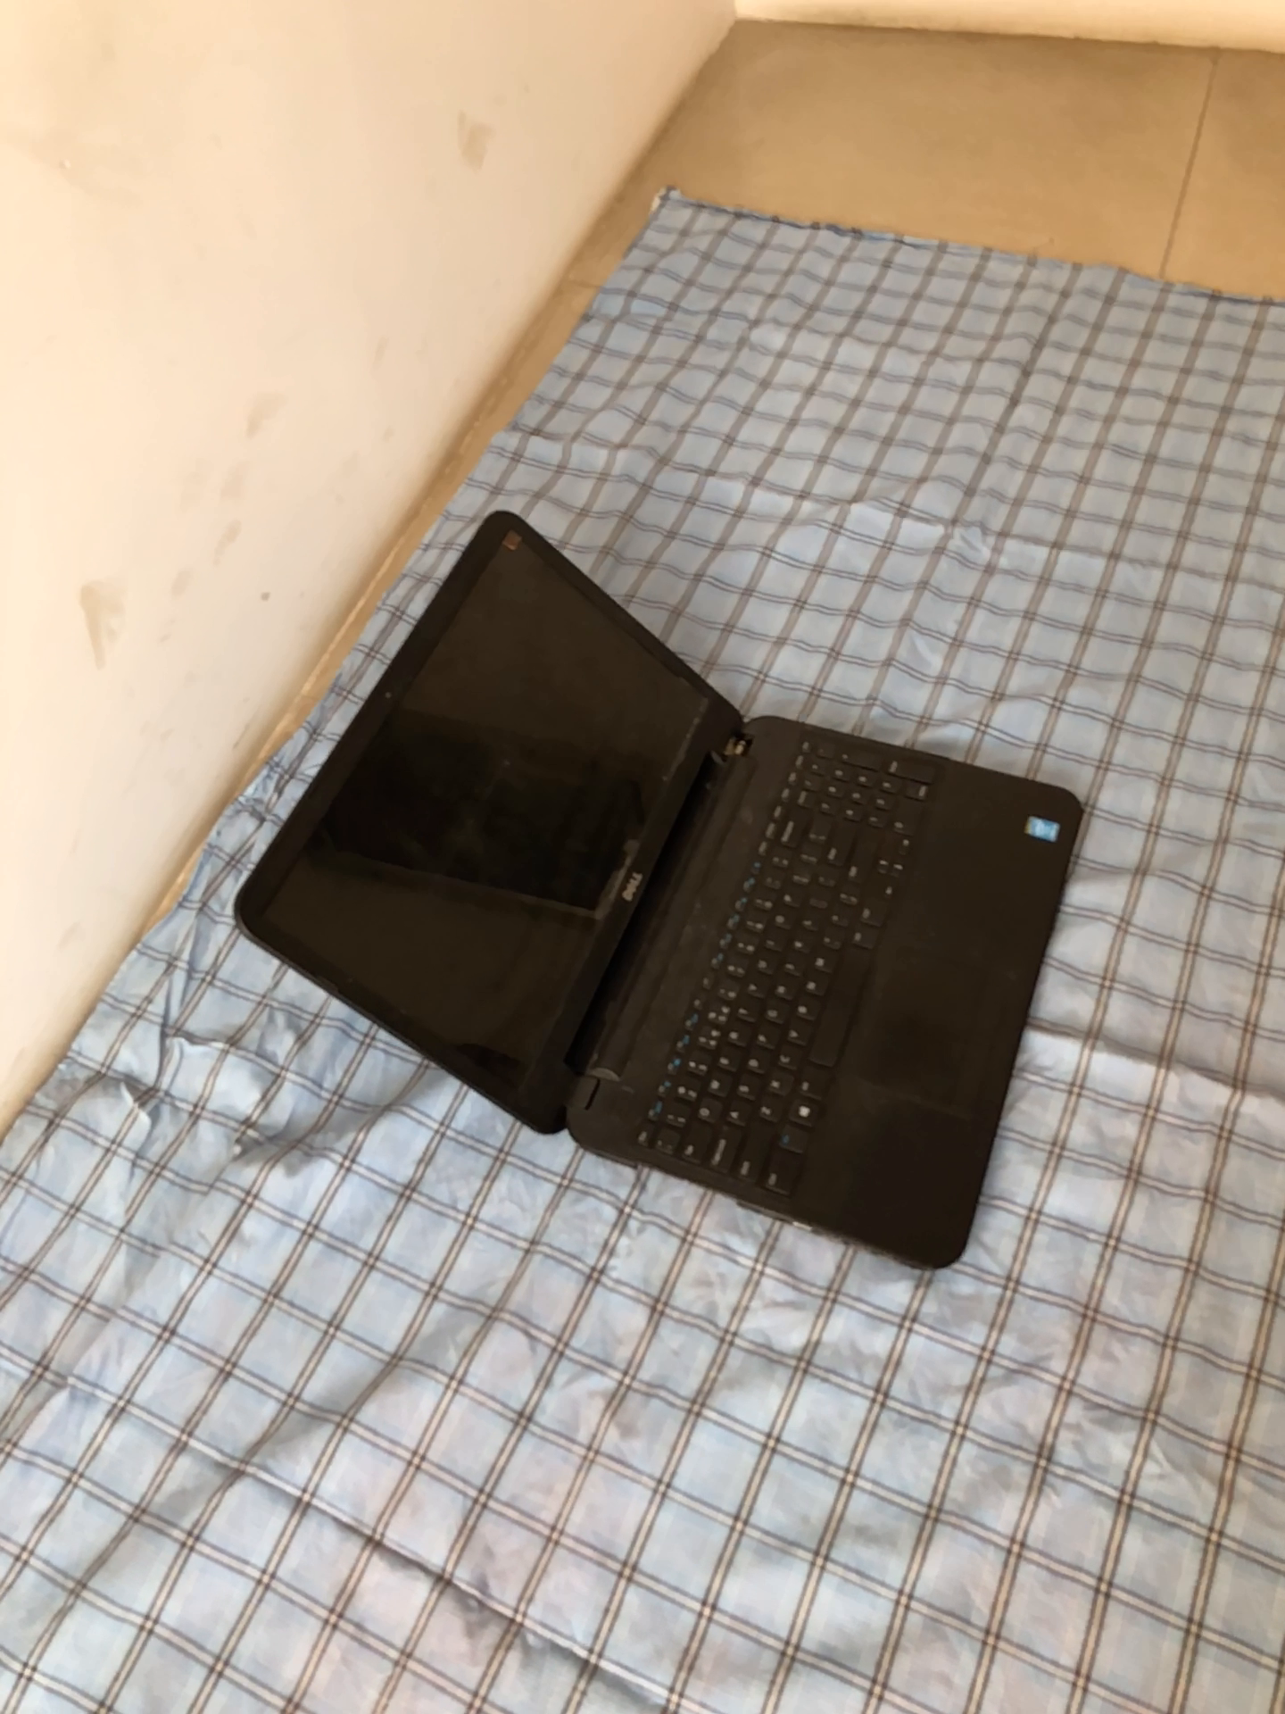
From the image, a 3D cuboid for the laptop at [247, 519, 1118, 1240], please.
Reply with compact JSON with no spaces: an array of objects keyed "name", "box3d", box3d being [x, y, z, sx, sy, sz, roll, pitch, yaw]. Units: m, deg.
[{"name":"laptop","box3d":[0.041,-0.010,0.892,0.413,0.163,0.356,14,56,18]}]
